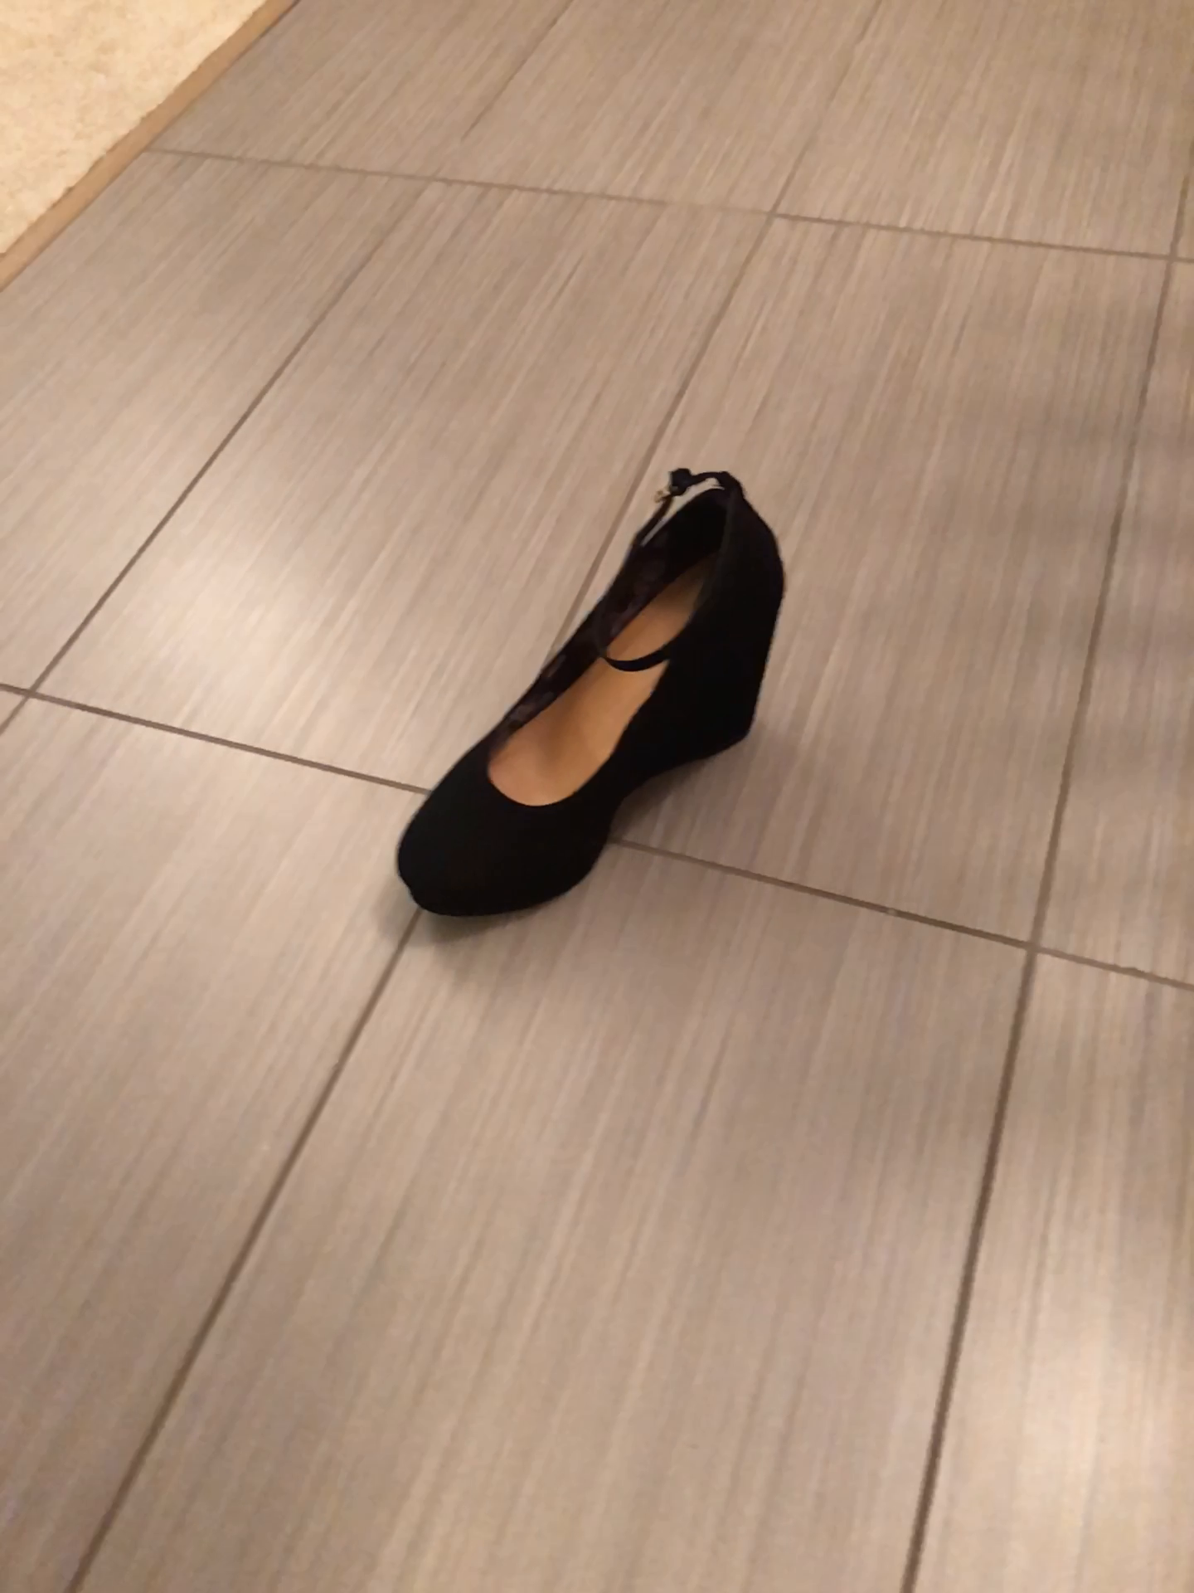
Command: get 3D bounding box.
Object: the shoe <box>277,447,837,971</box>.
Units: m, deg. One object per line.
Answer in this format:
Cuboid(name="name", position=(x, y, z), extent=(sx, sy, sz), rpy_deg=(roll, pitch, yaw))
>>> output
Cuboid(name="shoe", position=(-0.011, -0.044, 0.653), extent=(0.240, 0.139, 0.100), rpy_deg=(-29, 55, -15))
